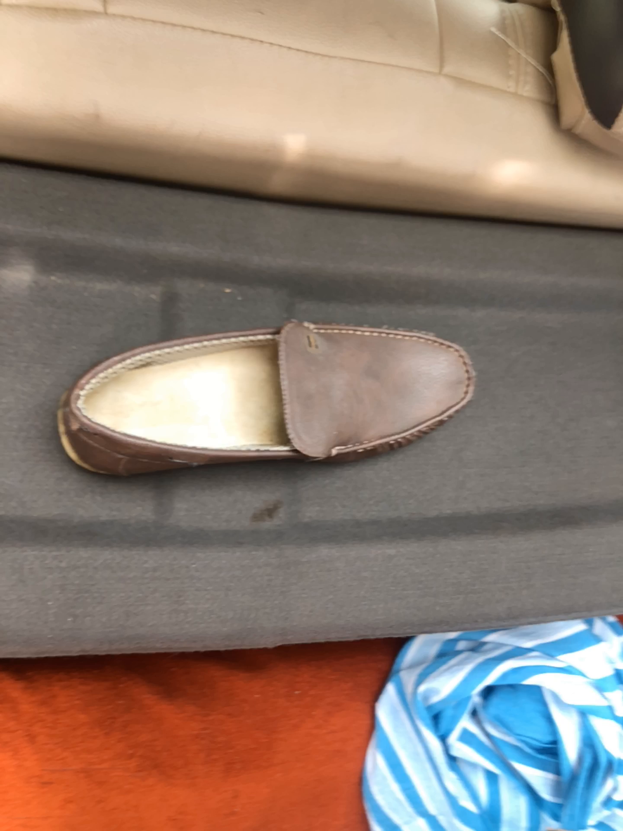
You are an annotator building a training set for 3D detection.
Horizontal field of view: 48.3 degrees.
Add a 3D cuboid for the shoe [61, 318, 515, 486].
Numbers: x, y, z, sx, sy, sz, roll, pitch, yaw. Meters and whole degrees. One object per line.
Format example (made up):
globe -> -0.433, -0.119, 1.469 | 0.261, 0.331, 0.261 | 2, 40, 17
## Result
shoe -> -0.011, -0.011, 0.420 | 0.260, 0.050, 0.080 | -2, 73, -17
